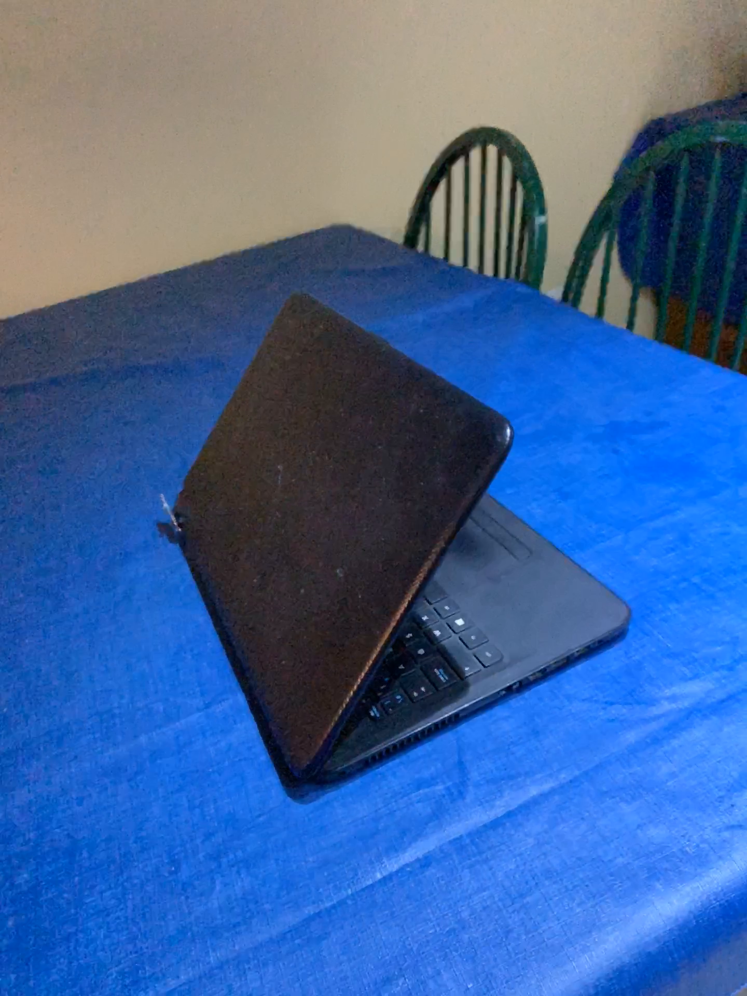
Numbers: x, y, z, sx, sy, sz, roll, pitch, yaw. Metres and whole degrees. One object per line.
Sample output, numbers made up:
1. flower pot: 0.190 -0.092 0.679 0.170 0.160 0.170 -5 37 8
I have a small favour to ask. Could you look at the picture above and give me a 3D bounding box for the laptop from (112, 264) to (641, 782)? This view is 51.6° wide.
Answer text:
1. laptop: -0.023 -0.029 0.596 0.252 0.167 0.373 -21 33 -16
